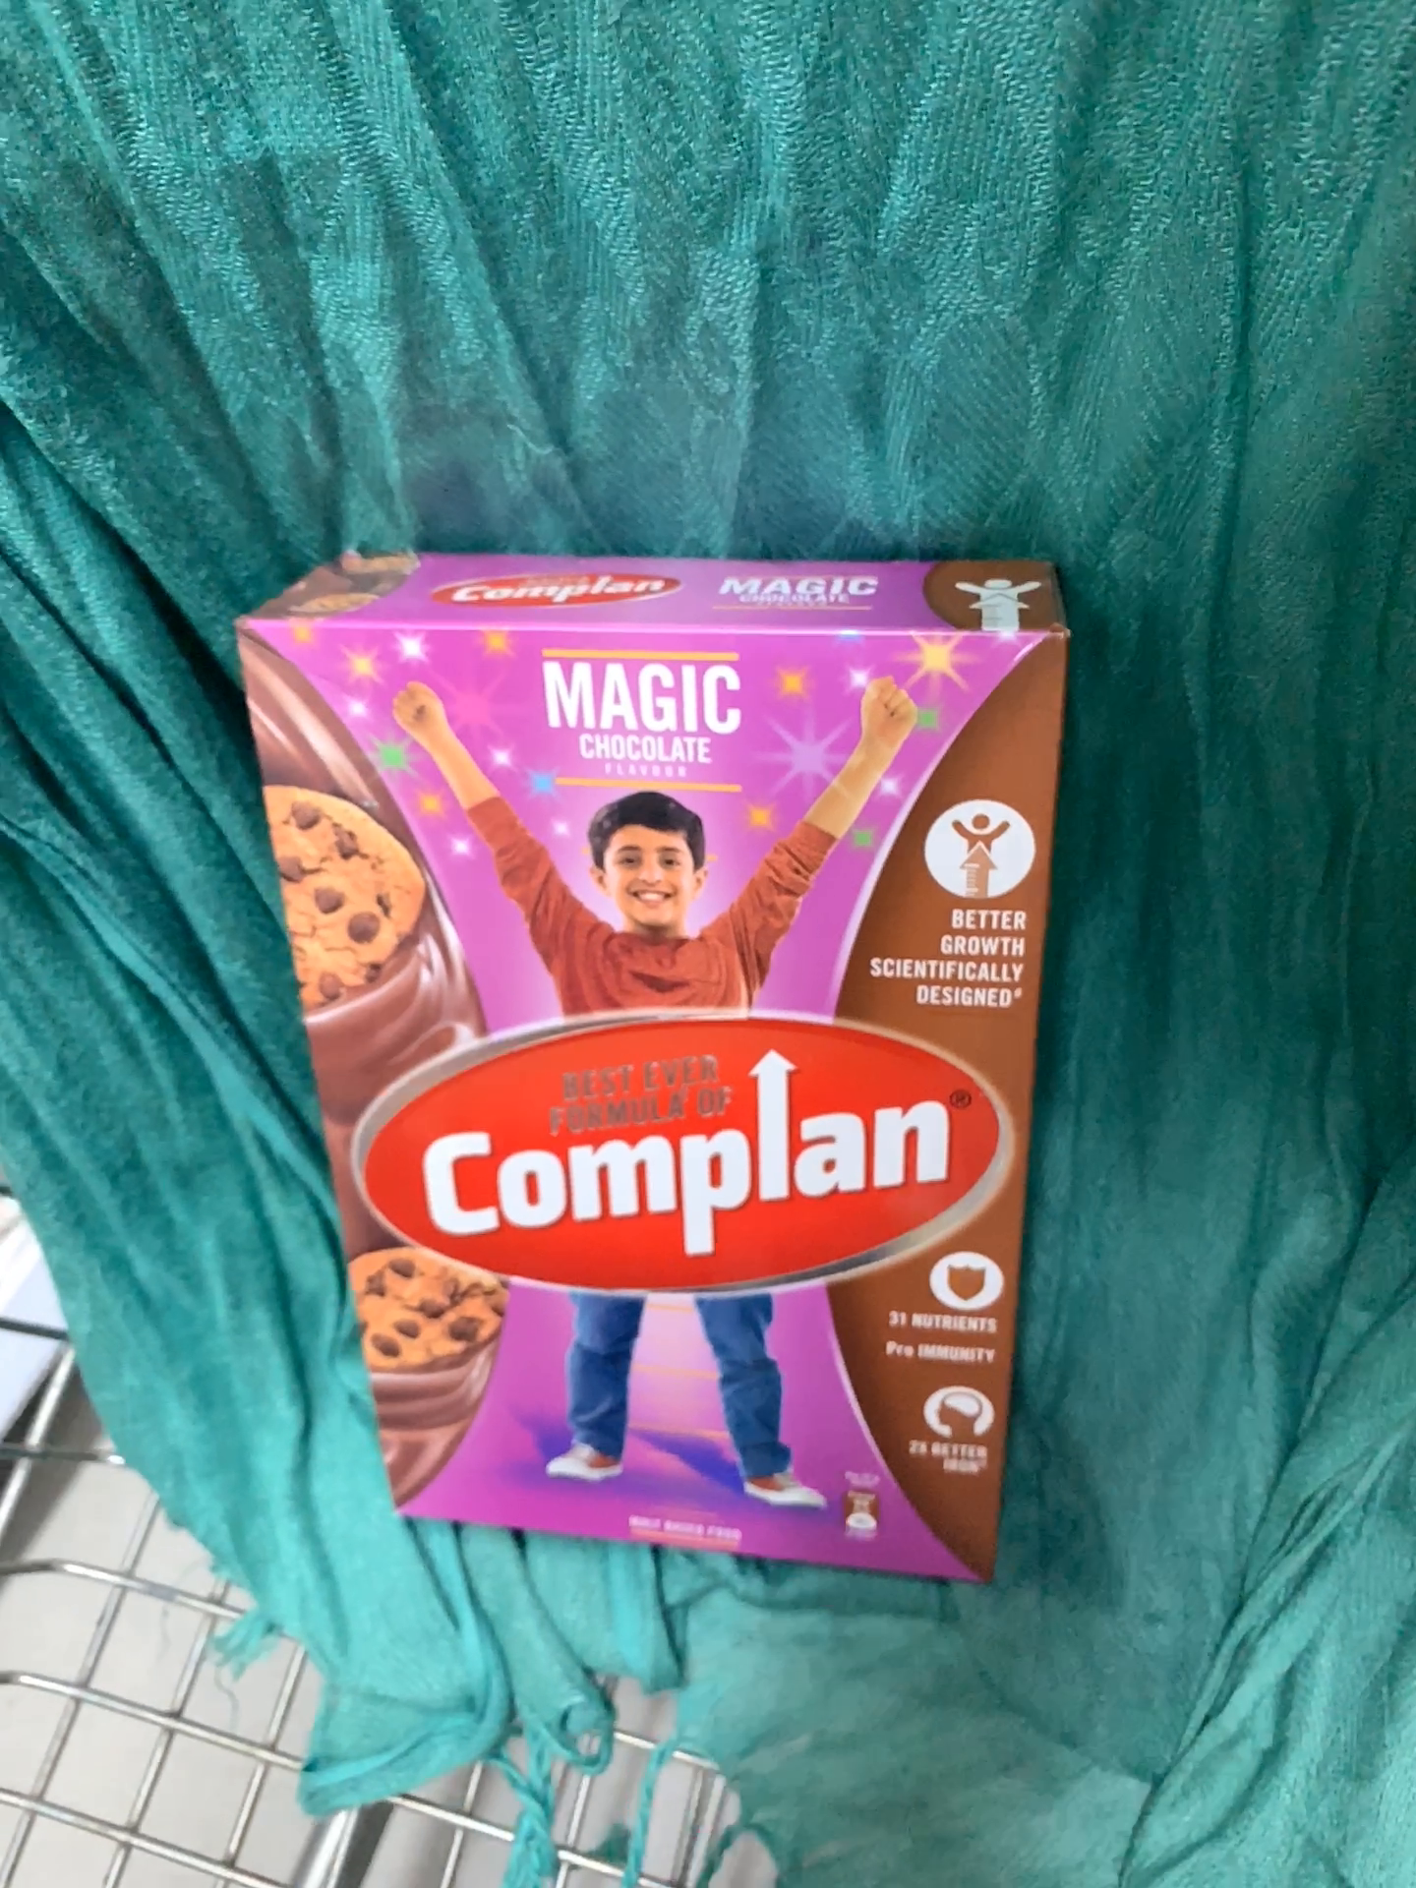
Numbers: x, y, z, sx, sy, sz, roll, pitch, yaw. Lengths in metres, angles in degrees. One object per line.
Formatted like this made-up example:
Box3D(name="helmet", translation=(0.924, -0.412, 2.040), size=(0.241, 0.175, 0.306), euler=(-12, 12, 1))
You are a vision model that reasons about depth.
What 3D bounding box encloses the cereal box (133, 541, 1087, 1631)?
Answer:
Box3D(name="cereal box", translation=(-0.012, 0.033, 0.308), size=(0.160, 0.220, 0.050), euler=(2, 25, 11))
